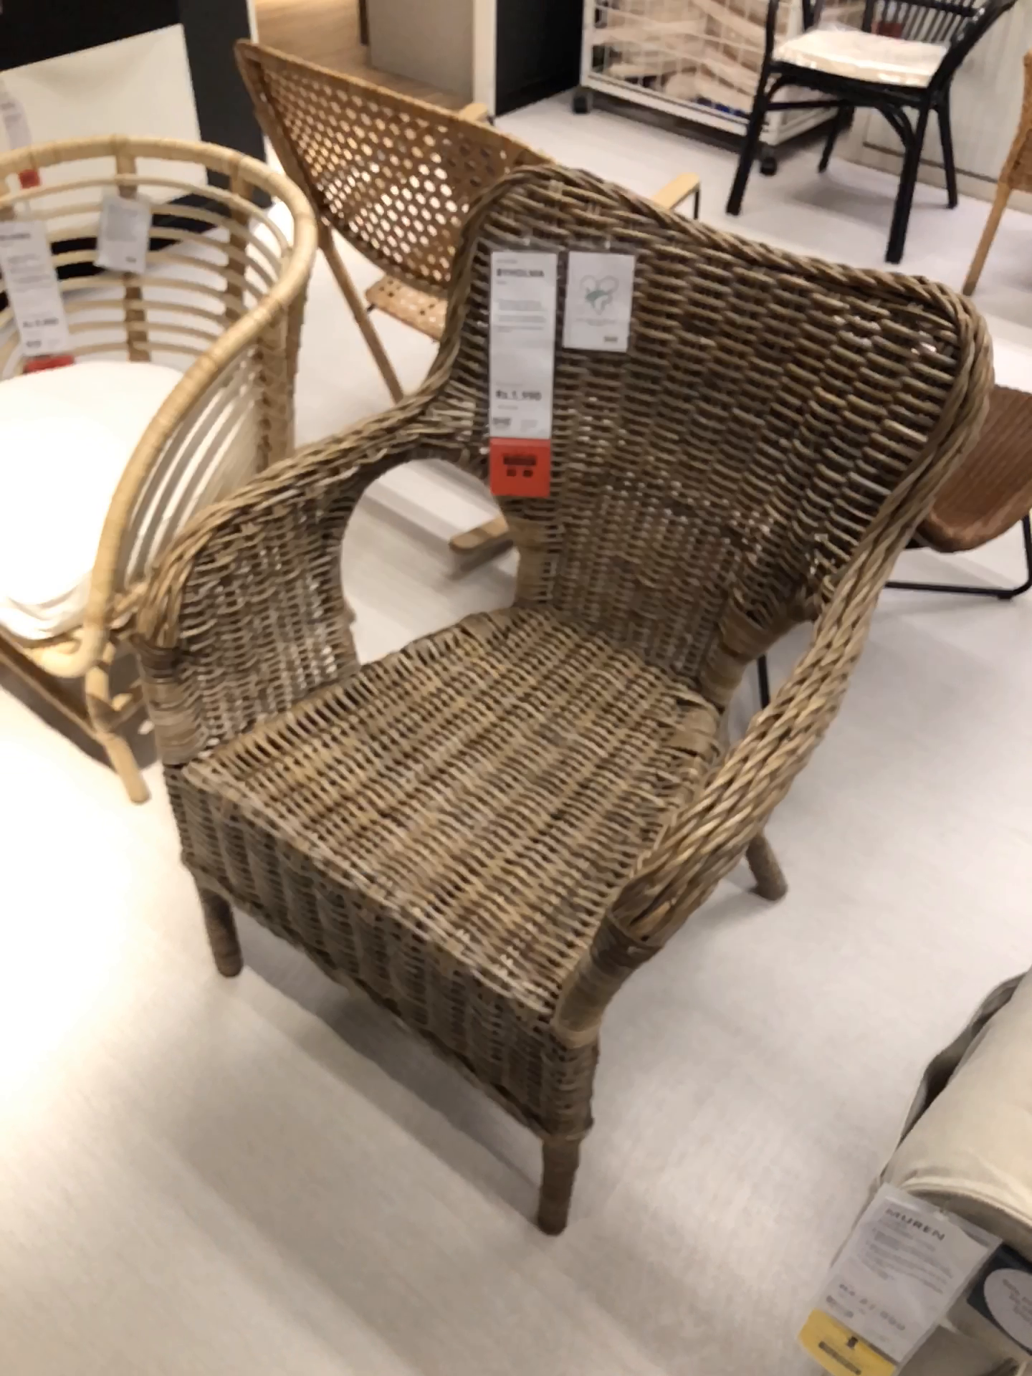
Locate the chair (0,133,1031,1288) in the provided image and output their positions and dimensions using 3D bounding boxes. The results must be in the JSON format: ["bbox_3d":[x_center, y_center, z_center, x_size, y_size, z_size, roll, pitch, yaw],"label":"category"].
[{"bbox_3d":[0.037,0.018,1.319,0.672,0.924,0.683,30,51,26],"label":"chair"}]
